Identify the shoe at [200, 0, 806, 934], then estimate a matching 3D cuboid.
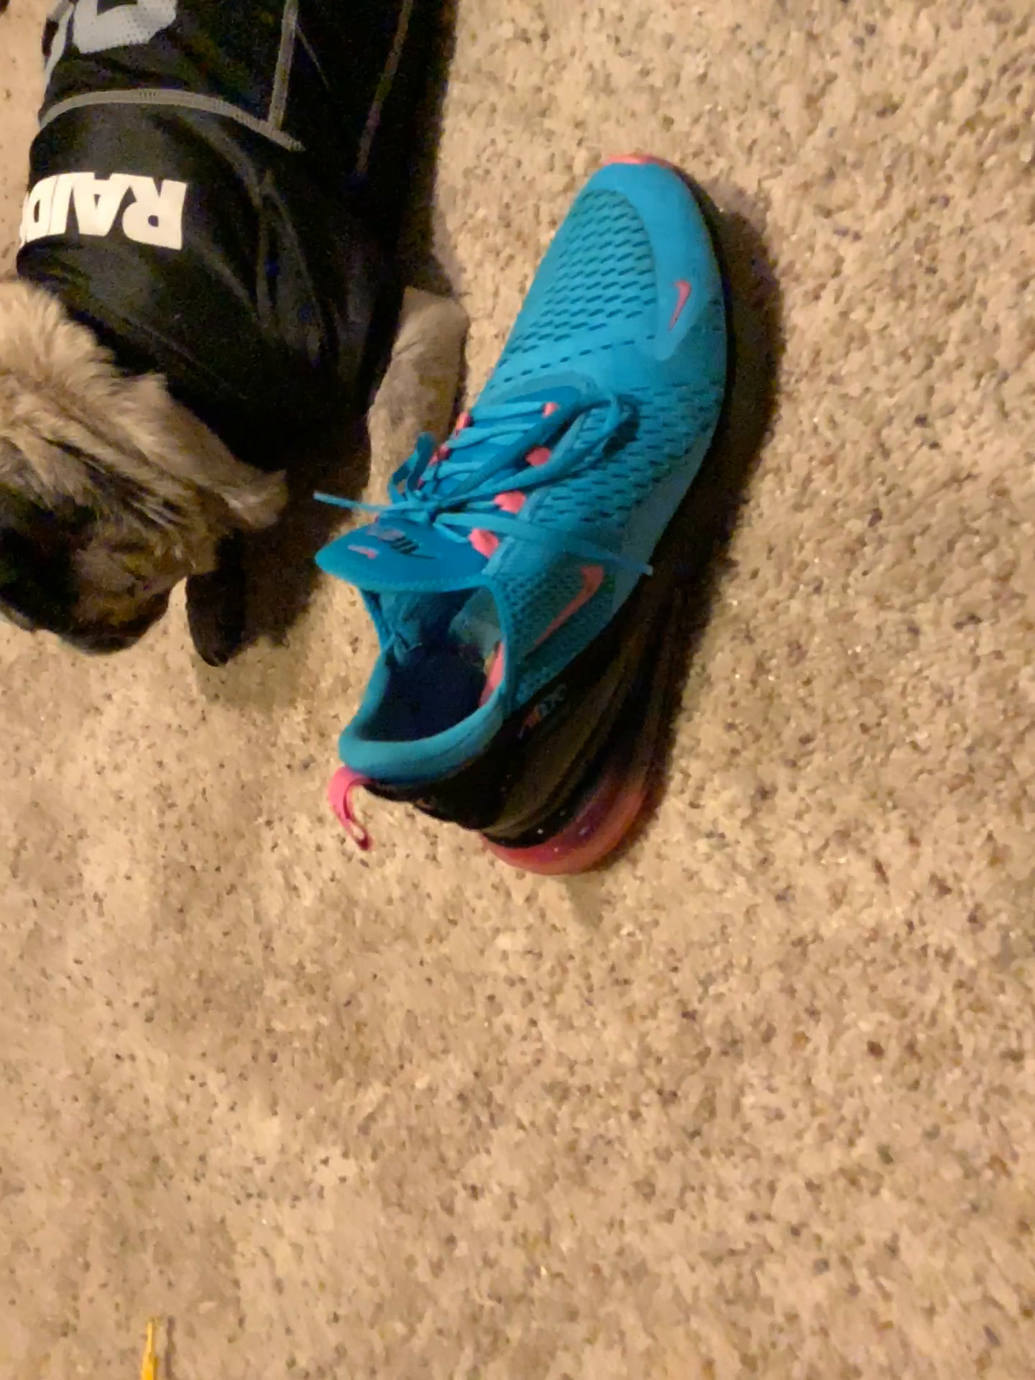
[{"bbox_3d":[-0.007,-0.086,0.481,0.130,0.140,0.340,14,93,44],"label":"shoe"}]
